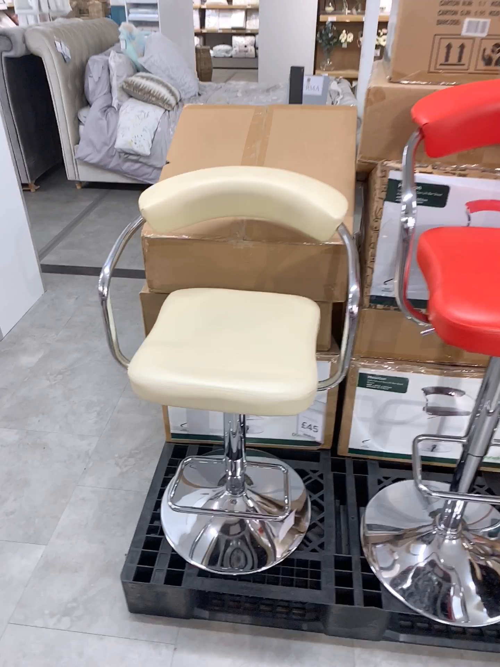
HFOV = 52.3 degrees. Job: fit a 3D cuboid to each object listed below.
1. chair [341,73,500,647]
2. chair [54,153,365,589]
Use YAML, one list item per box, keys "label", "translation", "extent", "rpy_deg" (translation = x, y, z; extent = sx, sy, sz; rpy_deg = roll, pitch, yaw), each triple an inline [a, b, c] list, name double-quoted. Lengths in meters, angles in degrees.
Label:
- label: "chair"
  translation: [0.490, 0.080, 1.070]
  extent: [0.474, 1.059, 0.524]
  rpy_deg: [4, 33, 6]
- label: "chair"
  translation: [-0.037, 0.085, 1.186]
  extent: [0.464, 0.841, 0.504]
  rpy_deg: [4, 33, 6]
